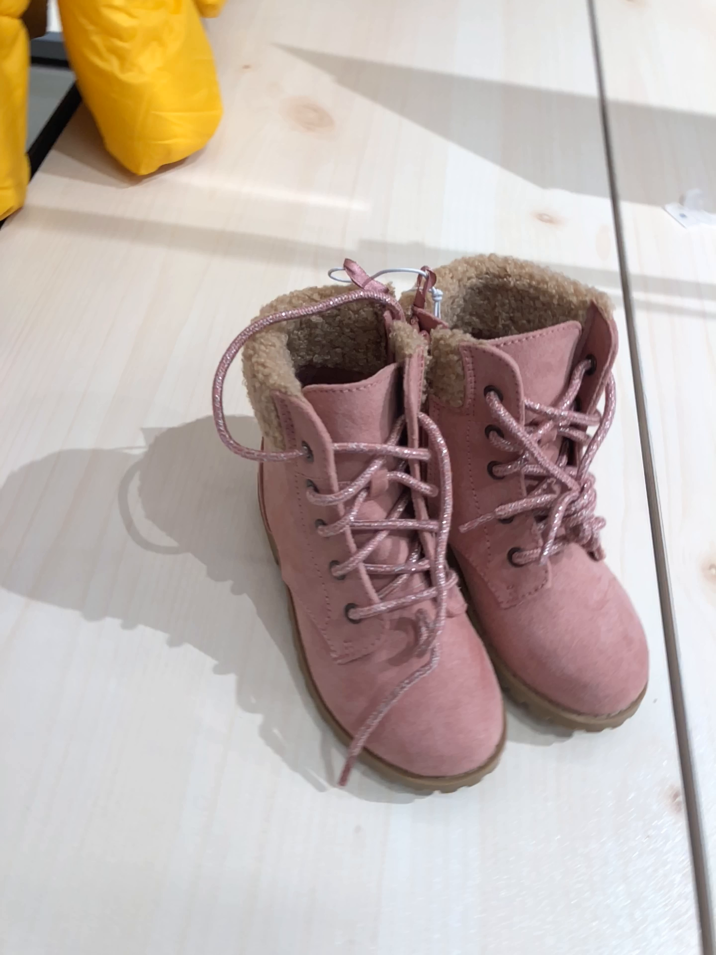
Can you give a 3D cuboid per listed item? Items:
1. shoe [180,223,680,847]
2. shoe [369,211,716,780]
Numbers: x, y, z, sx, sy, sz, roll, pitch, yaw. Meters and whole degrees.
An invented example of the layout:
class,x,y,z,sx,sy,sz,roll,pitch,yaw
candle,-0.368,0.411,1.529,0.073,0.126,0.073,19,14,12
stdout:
class,x,y,z,sx,sy,sz,roll,pitch,yaw
shoe,0.006,0.017,0.274,0.080,0.120,0.160,-17,56,-17
shoe,0.078,0.004,0.300,0.080,0.120,0.160,-17,56,-17
